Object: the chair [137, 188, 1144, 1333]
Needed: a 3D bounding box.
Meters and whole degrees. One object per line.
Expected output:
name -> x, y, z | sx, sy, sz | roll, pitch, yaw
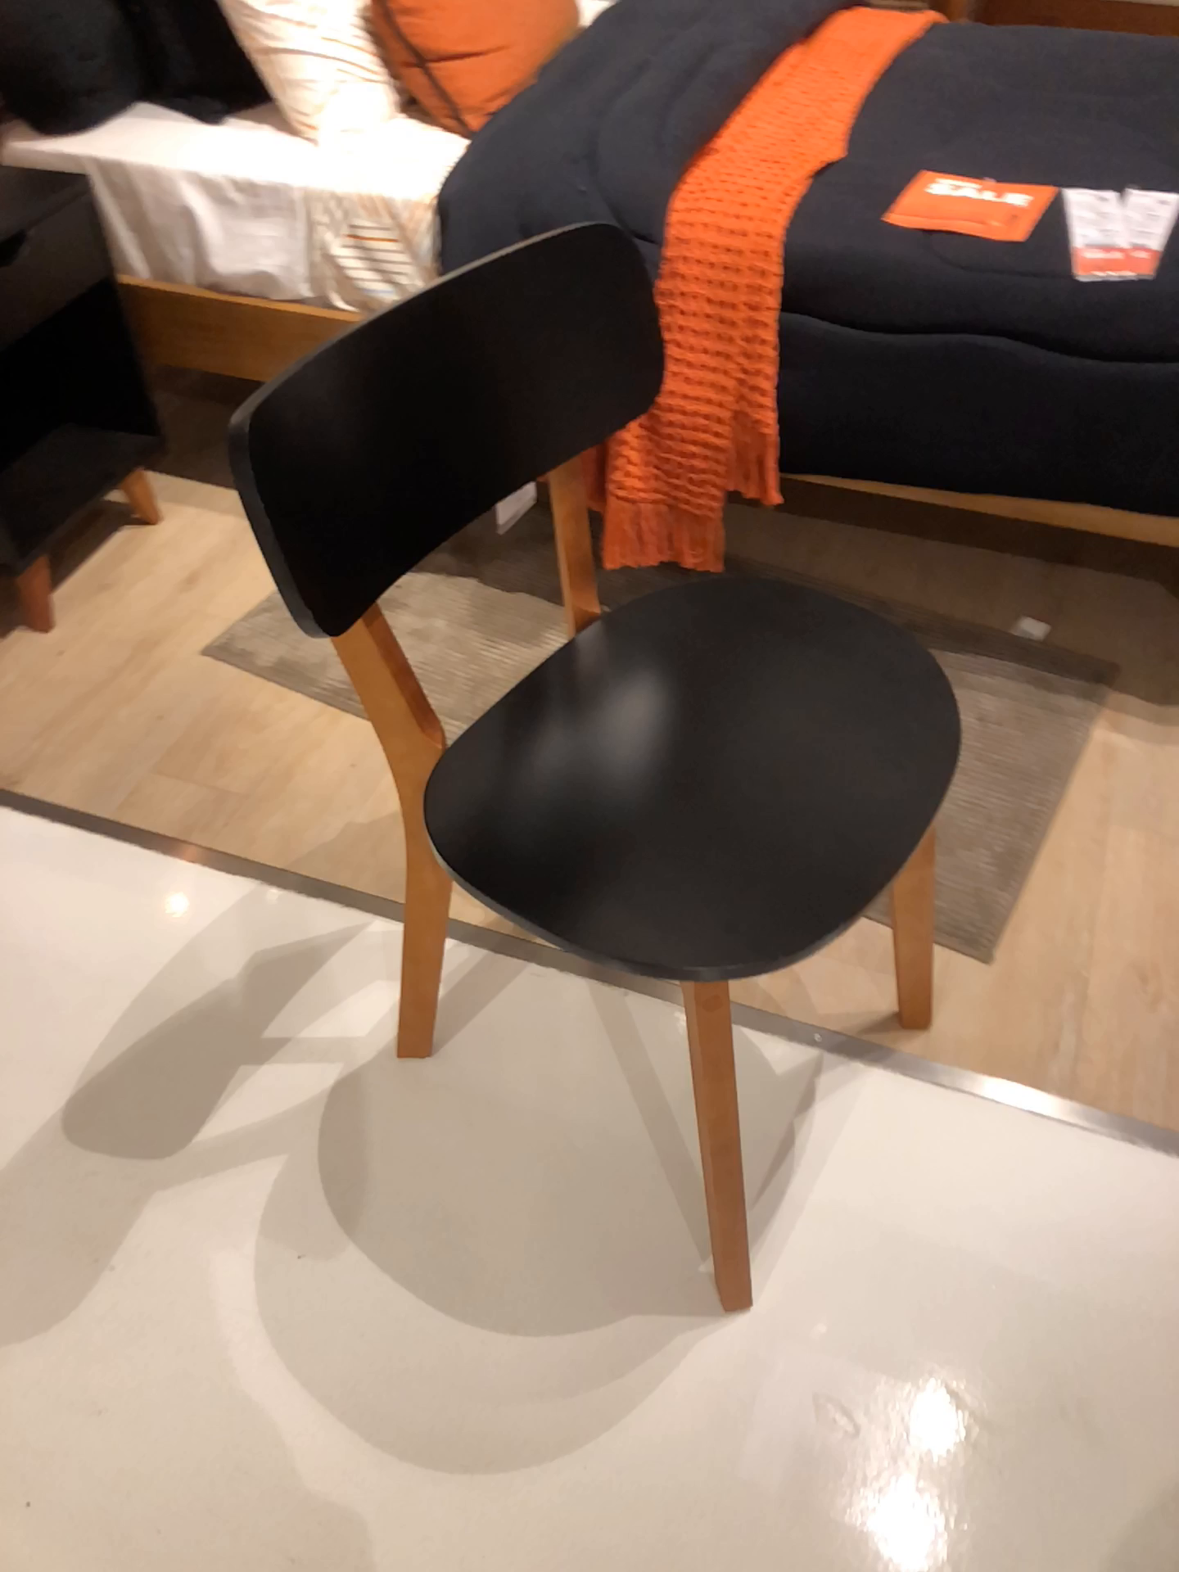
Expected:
chair -> 0.058, -0.018, 1.083 | 0.481, 0.705, 0.462 | 24, 50, 25
